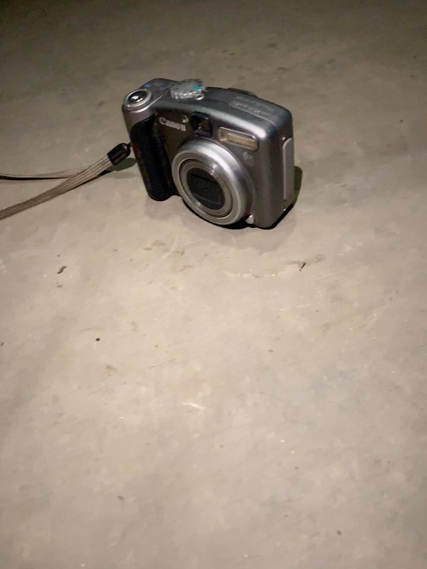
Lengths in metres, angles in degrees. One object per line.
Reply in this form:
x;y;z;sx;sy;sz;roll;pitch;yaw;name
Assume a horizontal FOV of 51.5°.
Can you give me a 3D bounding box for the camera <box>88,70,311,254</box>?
-0.007;-0.072;0.249;0.109;0.060;0.048;25;56;27;camera
